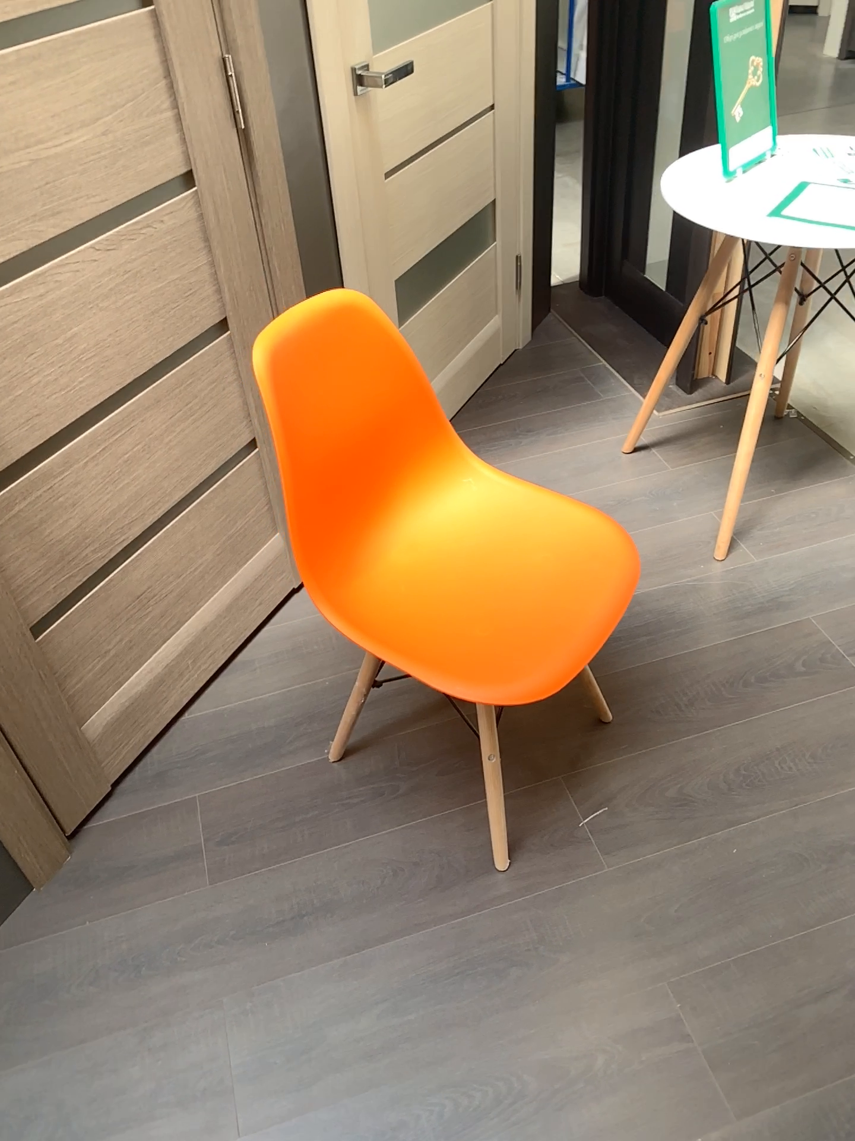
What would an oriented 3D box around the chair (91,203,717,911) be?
[{"bbox_3d":[0.015,-0.037,1.240,0.521,0.716,0.531,20,47,27],"label":"chair"}]
